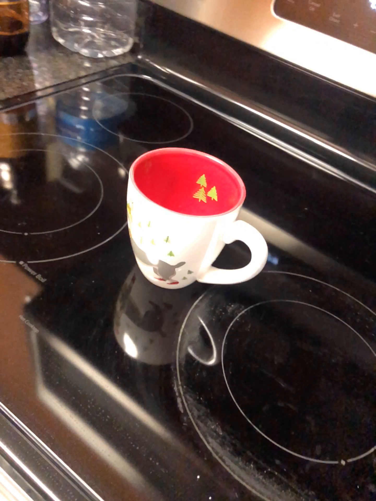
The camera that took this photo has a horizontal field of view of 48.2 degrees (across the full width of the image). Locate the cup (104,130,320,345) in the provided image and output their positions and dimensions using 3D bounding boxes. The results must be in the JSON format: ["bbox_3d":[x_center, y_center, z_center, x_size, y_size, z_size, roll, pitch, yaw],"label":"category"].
[{"bbox_3d":[0.016,-0.017,0.370,0.140,0.100,0.100,32,46,17],"label":"cup"}]
